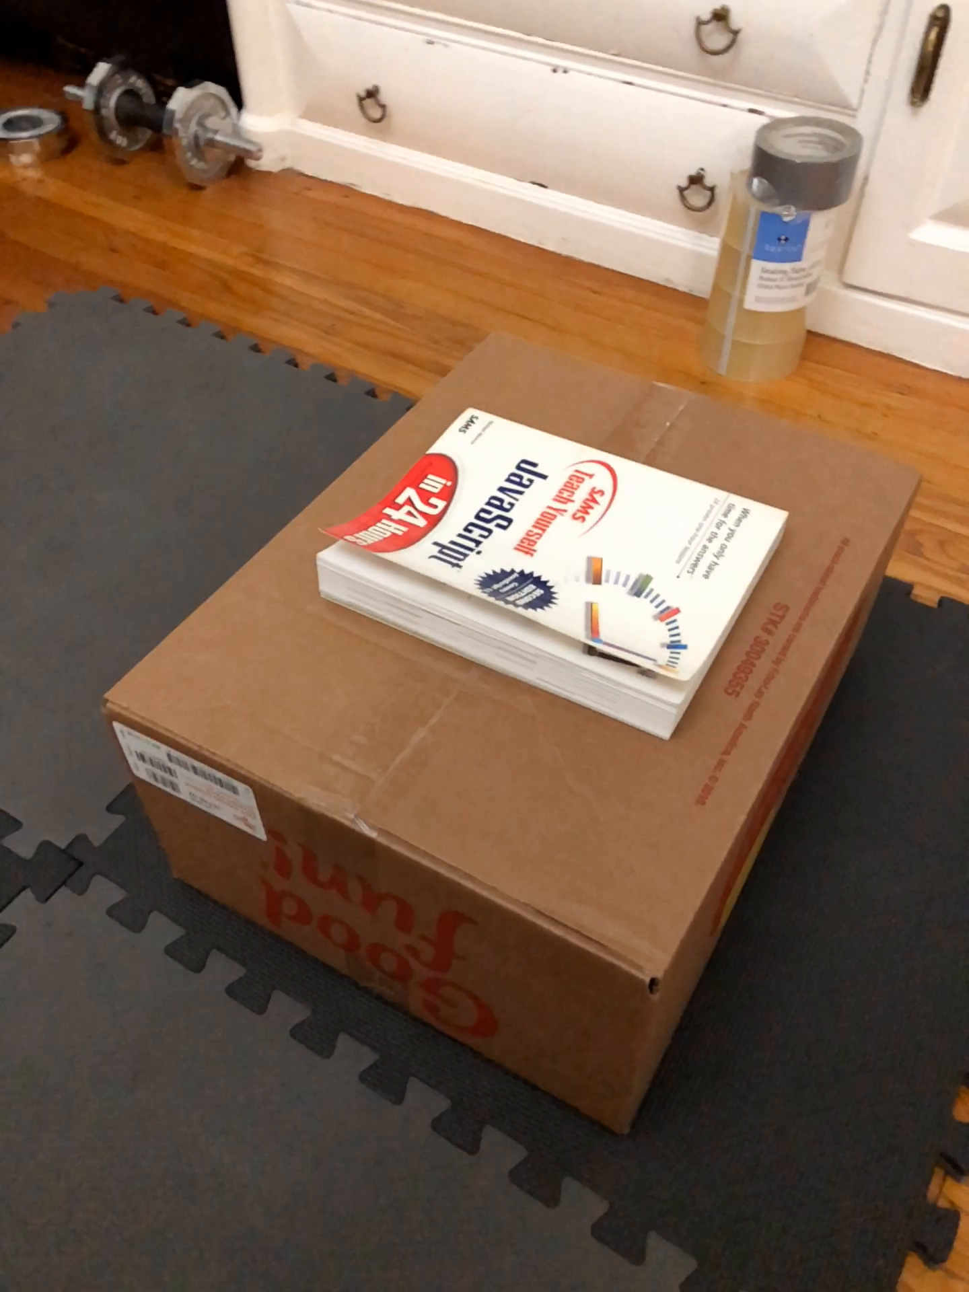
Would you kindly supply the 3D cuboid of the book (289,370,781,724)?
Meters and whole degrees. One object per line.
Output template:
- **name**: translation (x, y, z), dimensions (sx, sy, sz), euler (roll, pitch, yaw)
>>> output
- **book**: translation (0.036, -0.077, 0.670), dimensions (0.240, 0.030, 0.201), euler (23, 51, 18)
